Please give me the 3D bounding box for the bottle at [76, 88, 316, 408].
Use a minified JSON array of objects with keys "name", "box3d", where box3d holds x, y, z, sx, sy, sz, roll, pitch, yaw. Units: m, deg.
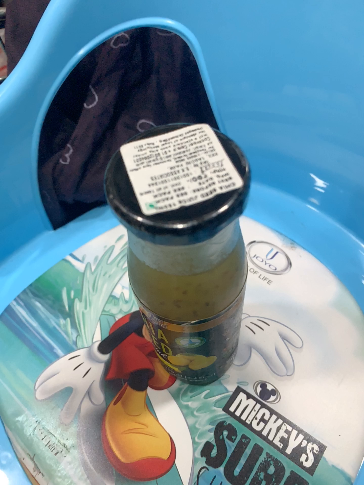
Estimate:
[{"name":"bottle","box3d":[0.006,0.016,0.167,0.050,0.140,0.050,-1,52,1]}]
